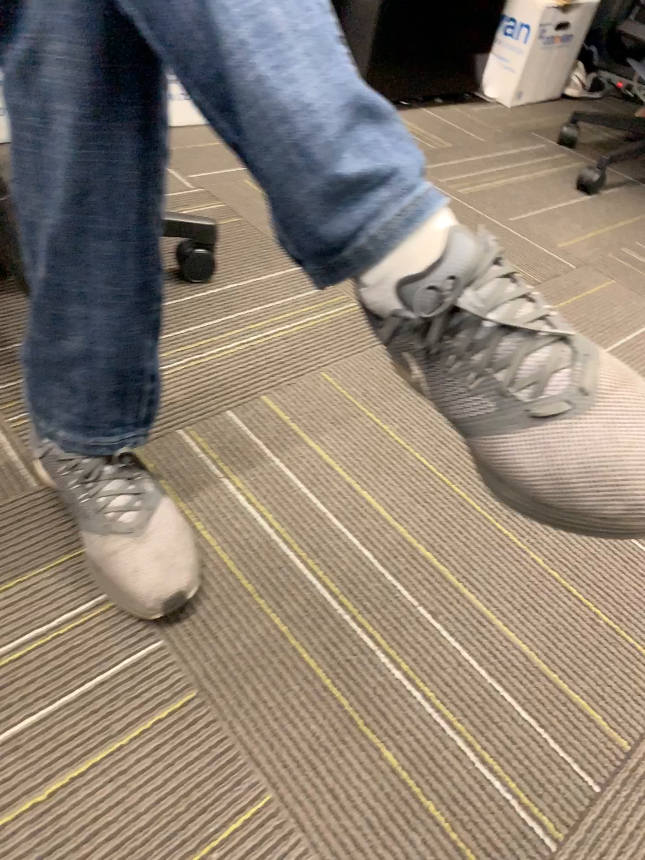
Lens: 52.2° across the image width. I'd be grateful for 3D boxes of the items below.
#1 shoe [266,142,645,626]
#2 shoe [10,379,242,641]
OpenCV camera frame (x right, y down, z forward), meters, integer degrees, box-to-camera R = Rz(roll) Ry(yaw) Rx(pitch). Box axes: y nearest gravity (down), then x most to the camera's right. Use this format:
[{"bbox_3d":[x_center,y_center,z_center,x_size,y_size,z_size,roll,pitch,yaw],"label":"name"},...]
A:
[{"bbox_3d":[0.107,-0.047,0.420,0.122,0.142,0.296,-42,46,3],"label":"shoe"},{"bbox_3d":[-0.216,0.071,0.706,0.120,0.085,0.270,-23,53,-34],"label":"shoe"}]
